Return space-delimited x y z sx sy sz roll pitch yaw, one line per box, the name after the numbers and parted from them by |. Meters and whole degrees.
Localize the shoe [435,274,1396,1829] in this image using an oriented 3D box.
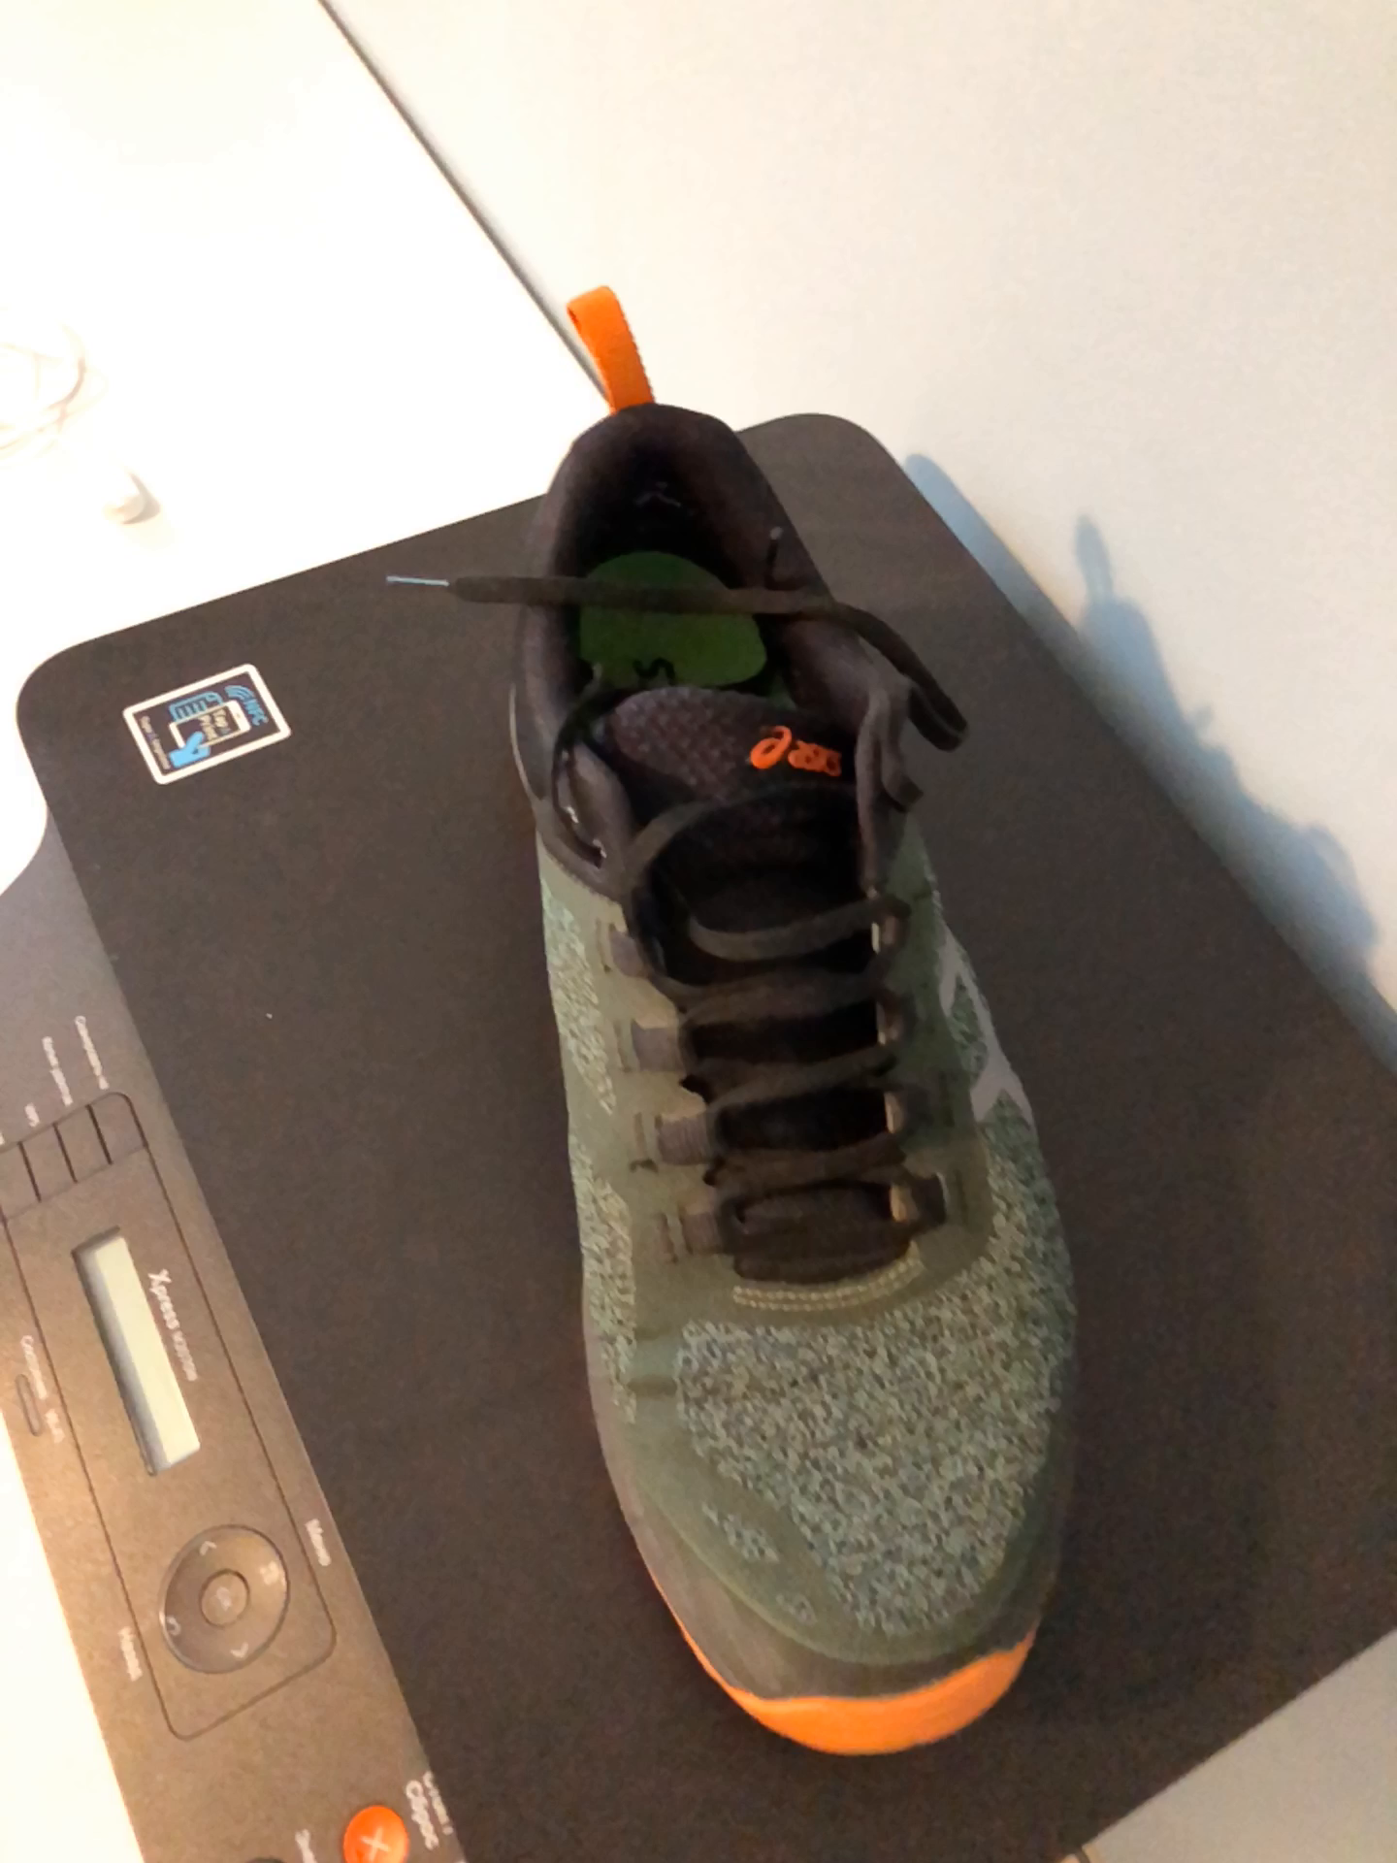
0.021 0.009 0.341 0.120 0.119 0.312 -7 60 -8 | shoe
